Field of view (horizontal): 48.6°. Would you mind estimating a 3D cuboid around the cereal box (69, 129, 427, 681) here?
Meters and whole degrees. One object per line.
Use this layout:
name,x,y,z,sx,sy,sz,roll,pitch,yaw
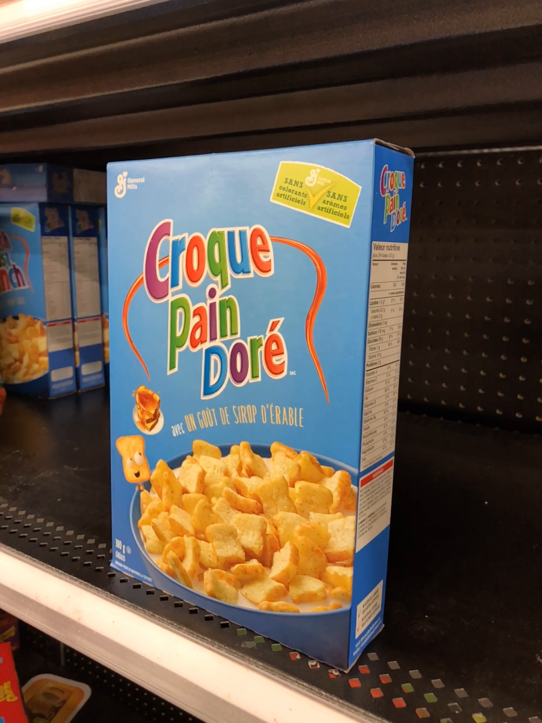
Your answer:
cereal box,-0.025,0.014,0.367,0.210,0.269,0.060,8,12,34
